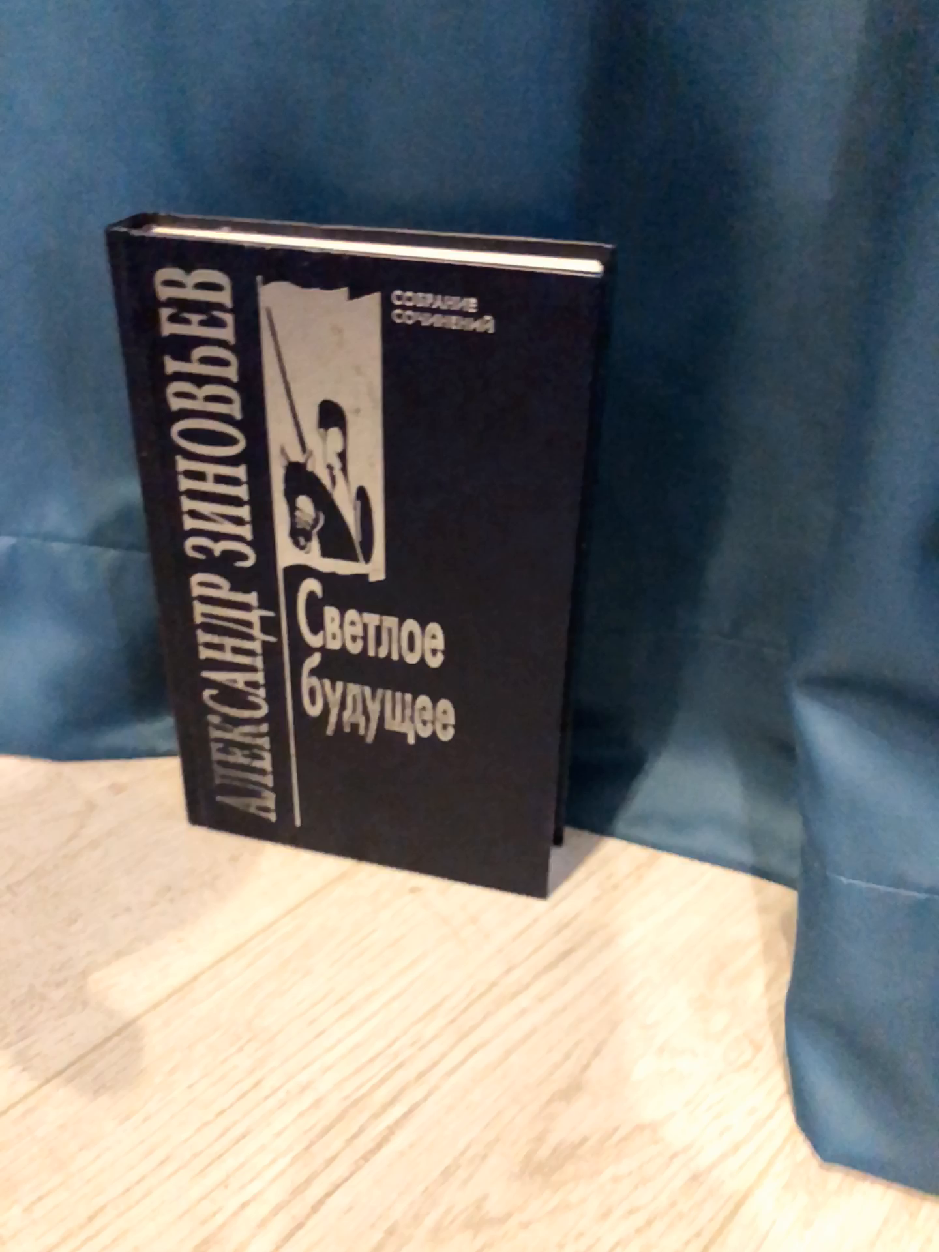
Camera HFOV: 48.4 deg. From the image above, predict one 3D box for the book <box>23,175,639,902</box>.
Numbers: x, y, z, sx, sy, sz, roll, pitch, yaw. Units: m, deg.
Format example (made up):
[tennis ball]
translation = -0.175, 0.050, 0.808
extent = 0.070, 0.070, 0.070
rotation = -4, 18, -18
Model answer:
[book]
translation = -0.038, -0.020, 0.313
extent = 0.150, 0.199, 0.040
rotation = 9, 30, 11
